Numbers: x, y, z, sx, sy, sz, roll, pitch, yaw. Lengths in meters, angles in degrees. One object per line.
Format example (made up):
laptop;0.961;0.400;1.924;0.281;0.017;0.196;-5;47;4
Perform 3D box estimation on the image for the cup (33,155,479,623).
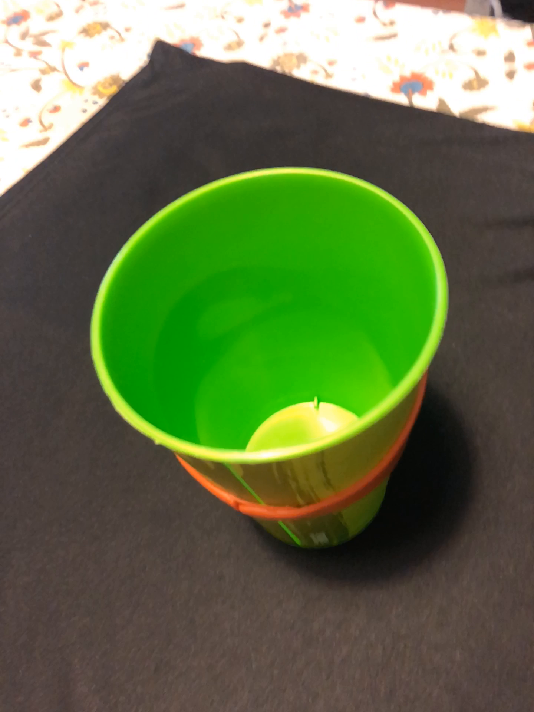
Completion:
cup;0.010;0.024;0.217;0.100;0.140;0.110;0;58;11
